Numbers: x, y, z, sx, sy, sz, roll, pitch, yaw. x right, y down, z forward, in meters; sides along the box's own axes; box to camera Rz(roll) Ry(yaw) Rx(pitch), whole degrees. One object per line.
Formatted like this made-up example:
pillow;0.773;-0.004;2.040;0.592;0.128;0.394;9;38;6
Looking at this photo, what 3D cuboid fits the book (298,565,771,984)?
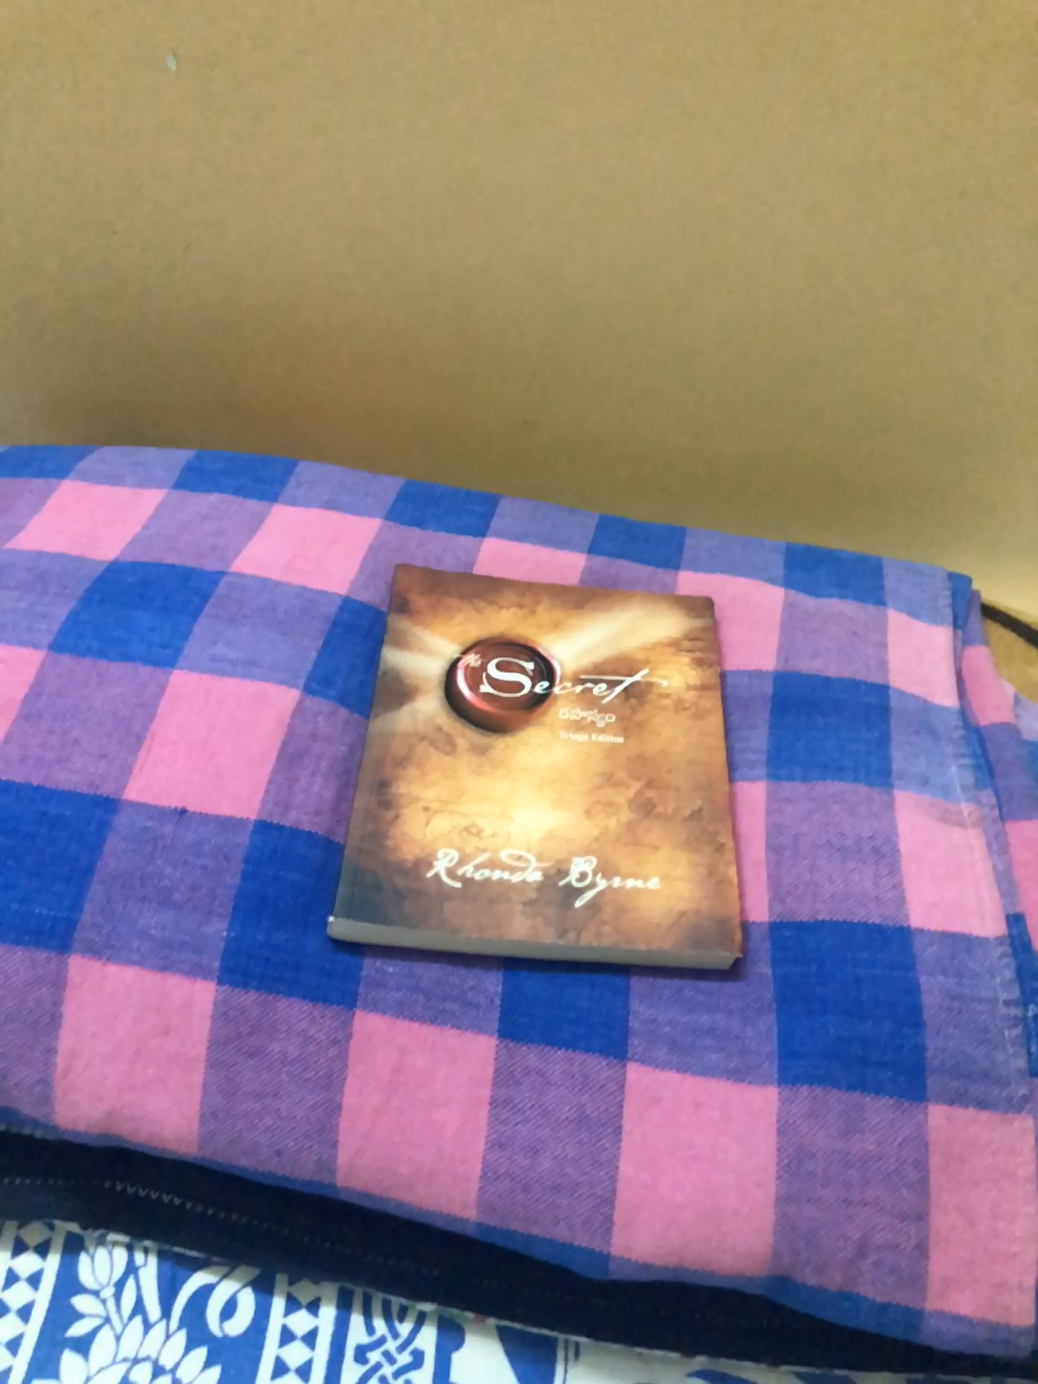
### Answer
book;0.009;0.020;0.441;0.150;0.020;0.191;4;42;0
